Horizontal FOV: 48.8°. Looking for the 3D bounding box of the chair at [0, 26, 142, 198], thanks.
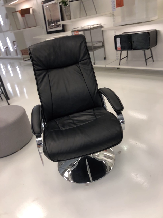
[{"bbox_3d":[-0.060,-0.060,1.447,0.730,0.993,0.806,-14,26,-4],"label":"chair"}]
